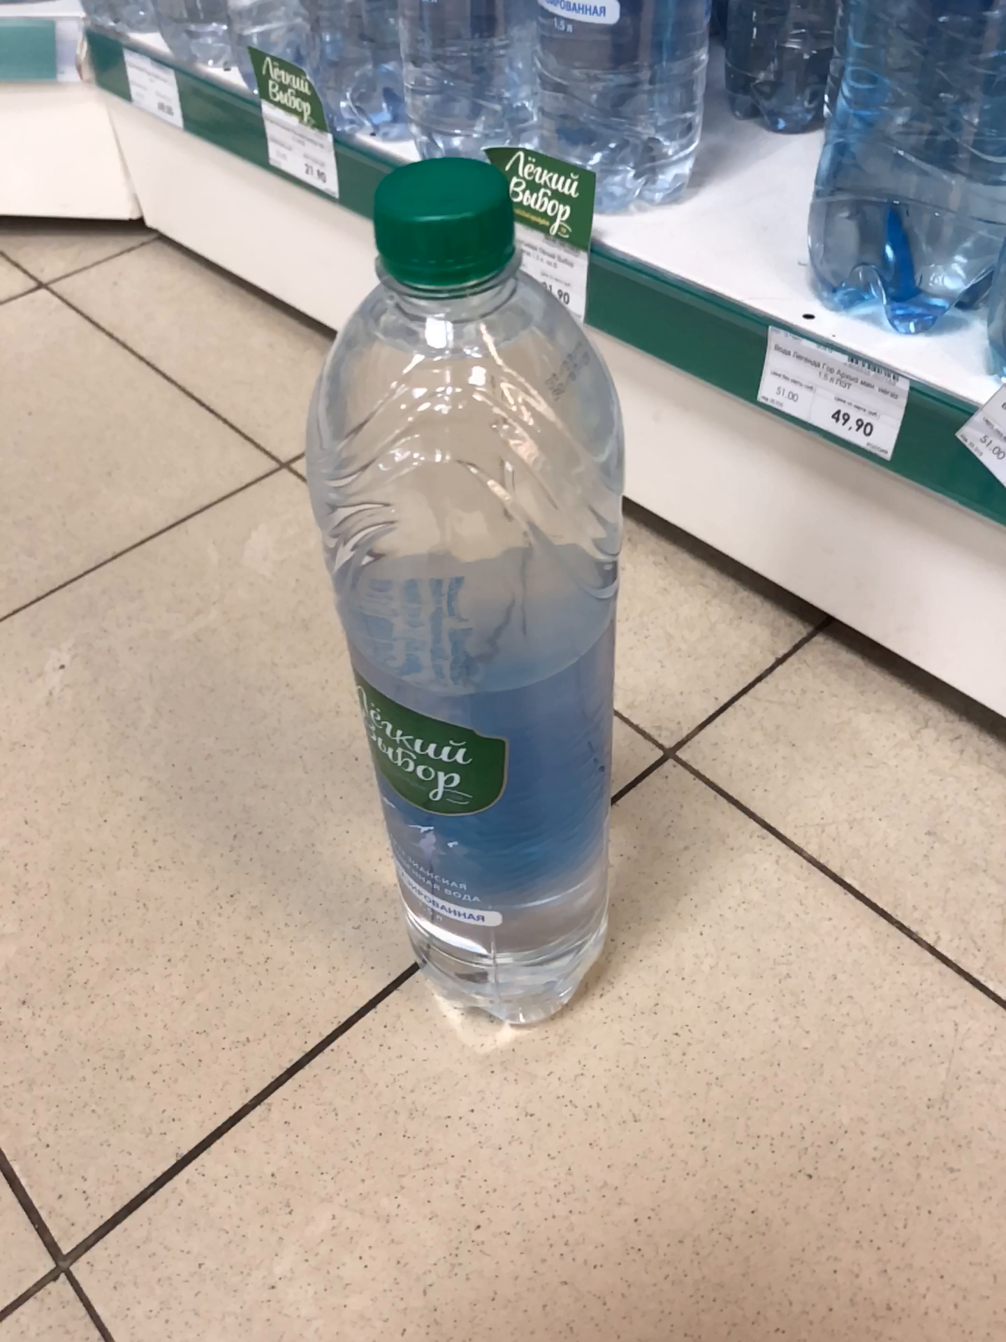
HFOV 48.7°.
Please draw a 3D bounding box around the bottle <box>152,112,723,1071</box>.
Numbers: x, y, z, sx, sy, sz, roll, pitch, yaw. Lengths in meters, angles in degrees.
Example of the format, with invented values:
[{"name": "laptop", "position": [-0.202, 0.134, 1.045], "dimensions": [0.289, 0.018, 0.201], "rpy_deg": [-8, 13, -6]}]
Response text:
[{"name": "bottle", "position": [-0.006, 0.004, 0.350], "dimensions": [0.089, 0.299, 0.086], "rpy_deg": [-2, 48, 2]}]
